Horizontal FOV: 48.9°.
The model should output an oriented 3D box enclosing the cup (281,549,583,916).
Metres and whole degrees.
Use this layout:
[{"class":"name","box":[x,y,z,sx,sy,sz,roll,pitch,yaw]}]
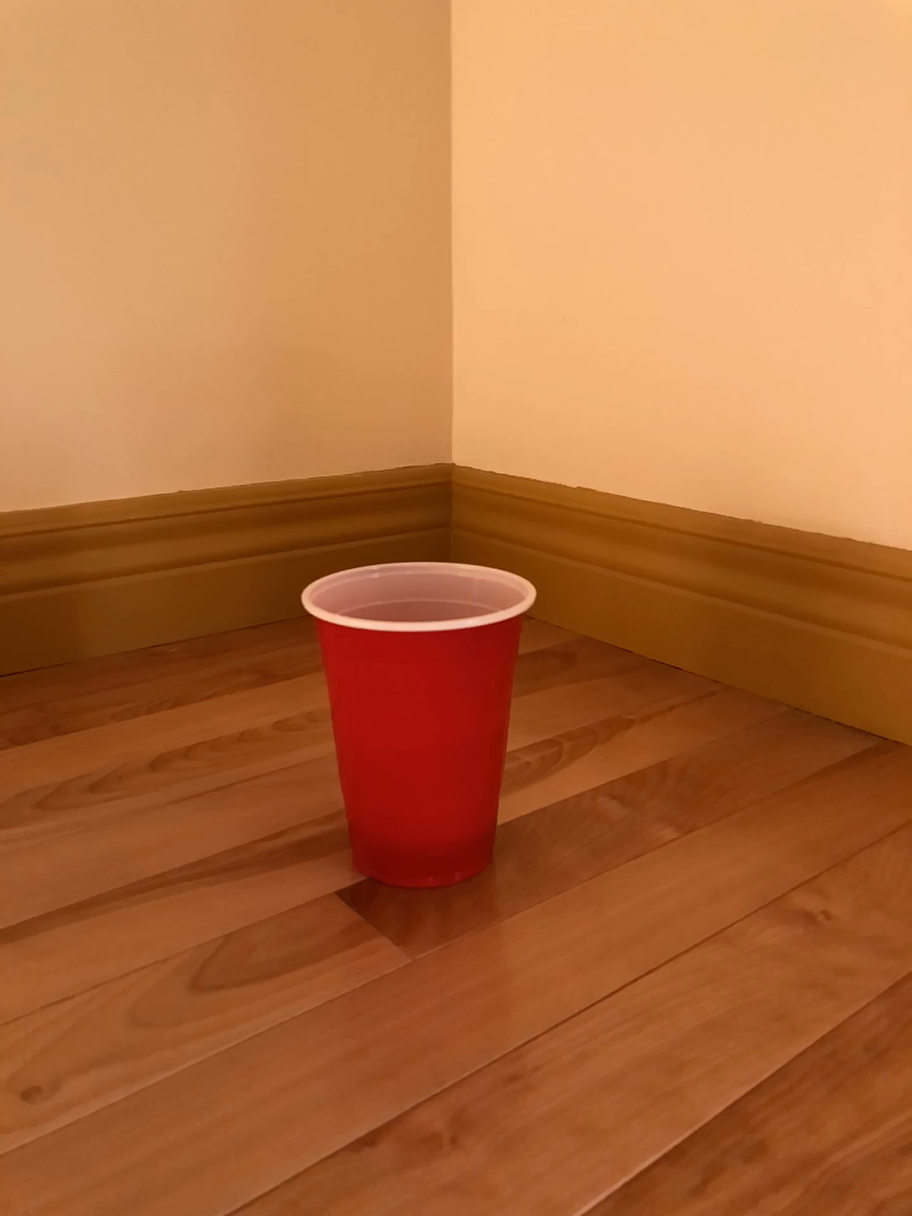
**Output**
[{"class":"cup","box":[-0.014,0.043,0.413,0.100,0.110,0.100,-1,15,0]}]
